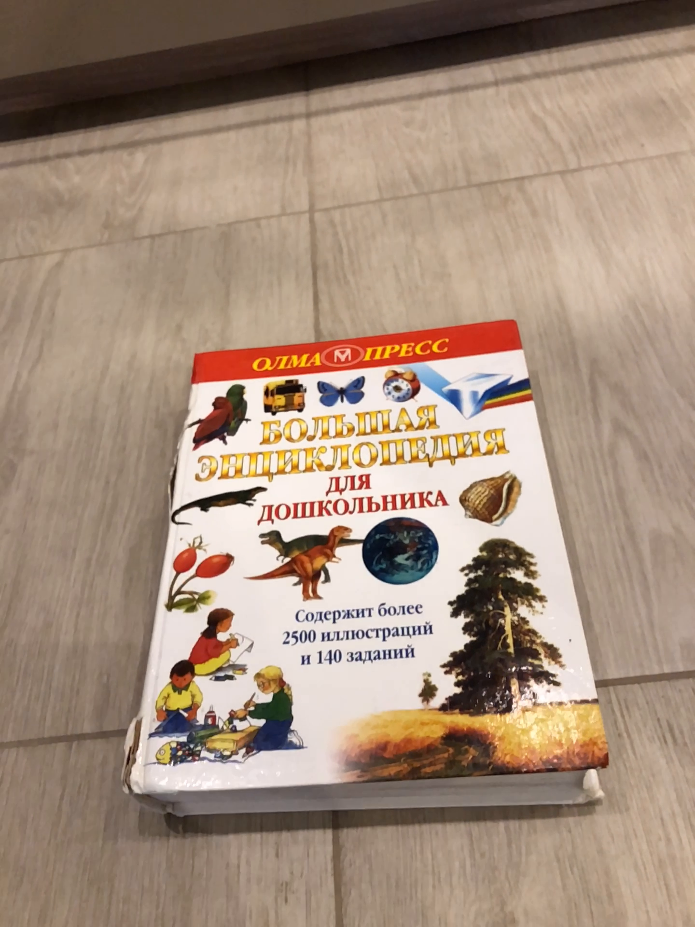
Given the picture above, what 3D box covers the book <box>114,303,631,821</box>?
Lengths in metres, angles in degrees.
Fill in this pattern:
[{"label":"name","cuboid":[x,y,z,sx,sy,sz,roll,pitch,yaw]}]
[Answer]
[{"label":"book","cuboid":[0.010,0.038,0.429,0.216,0.060,0.282,-5,52,6]}]
